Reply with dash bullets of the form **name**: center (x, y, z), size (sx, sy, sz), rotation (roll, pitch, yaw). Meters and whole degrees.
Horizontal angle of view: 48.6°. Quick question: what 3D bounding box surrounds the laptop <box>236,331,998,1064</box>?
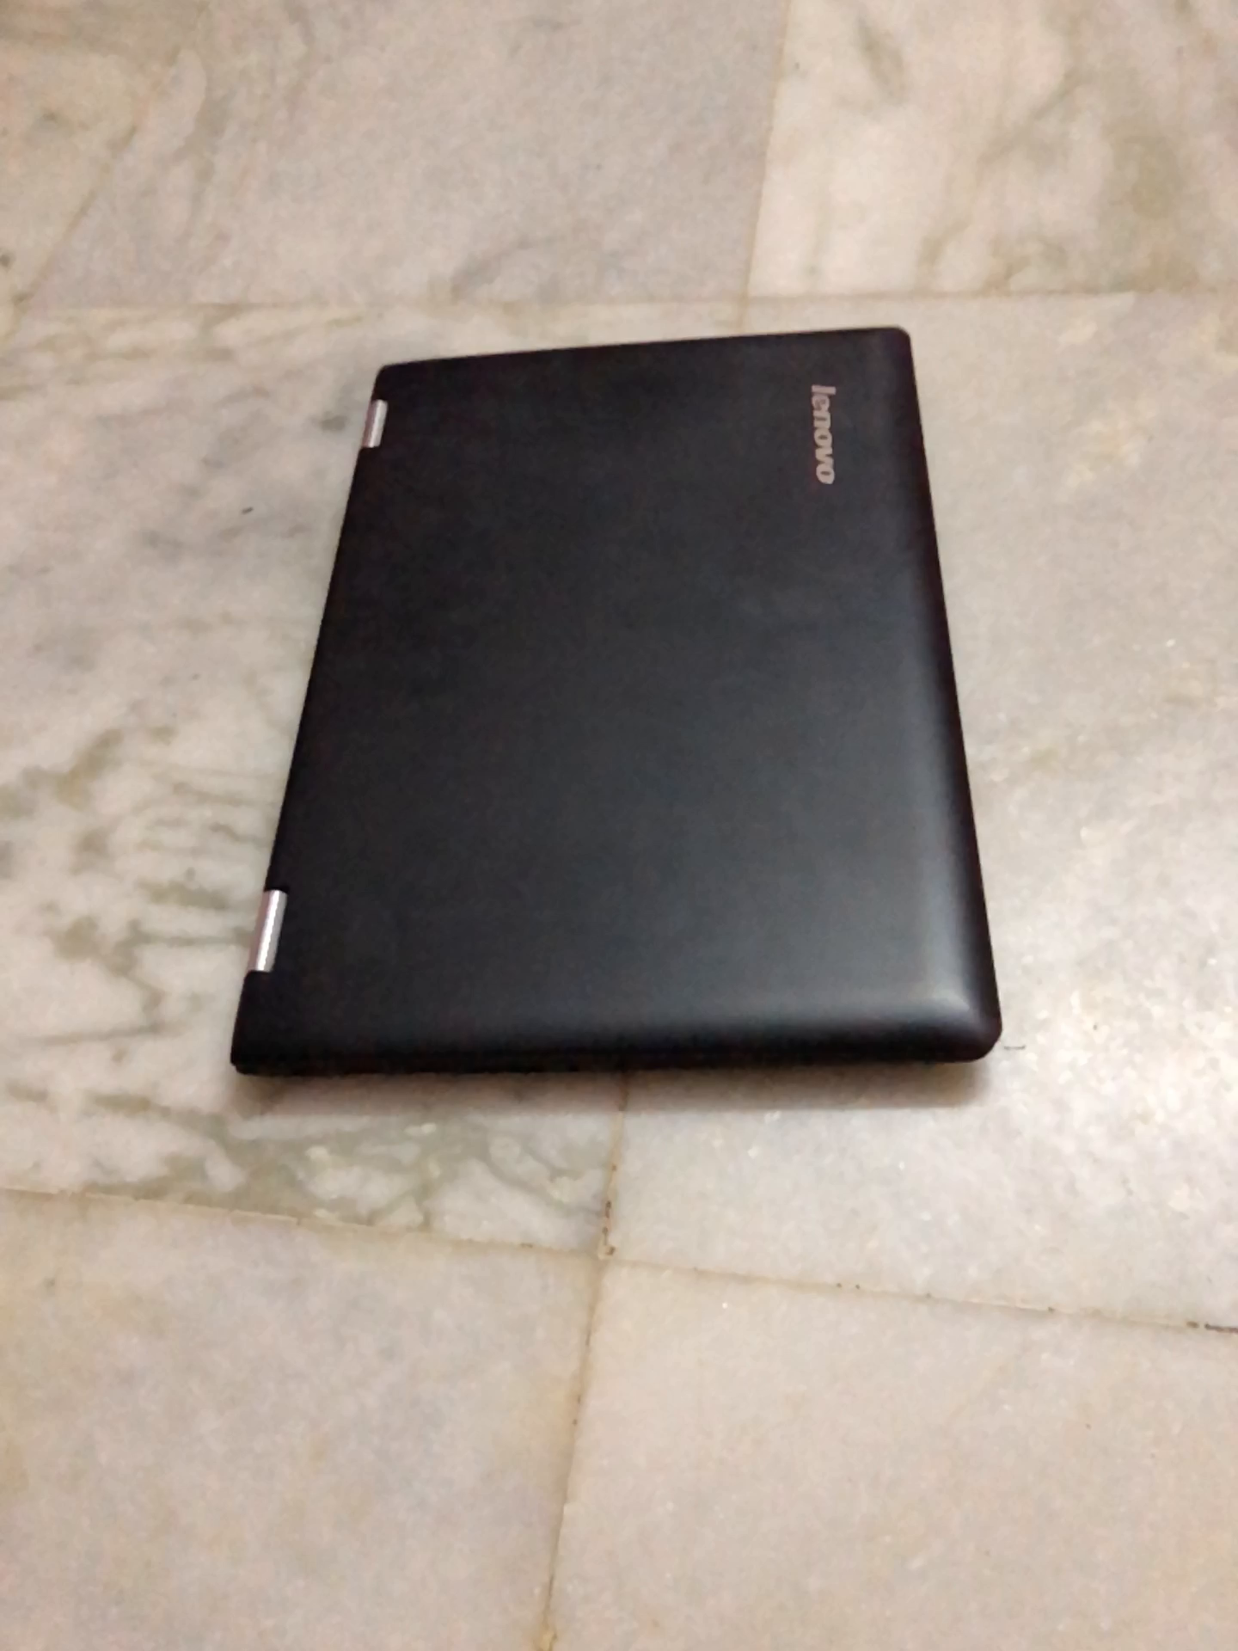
- **laptop**: center (0.003, -0.068, 0.492), size (0.222, 0.002, 0.329), rotation (-2, 55, 6)
